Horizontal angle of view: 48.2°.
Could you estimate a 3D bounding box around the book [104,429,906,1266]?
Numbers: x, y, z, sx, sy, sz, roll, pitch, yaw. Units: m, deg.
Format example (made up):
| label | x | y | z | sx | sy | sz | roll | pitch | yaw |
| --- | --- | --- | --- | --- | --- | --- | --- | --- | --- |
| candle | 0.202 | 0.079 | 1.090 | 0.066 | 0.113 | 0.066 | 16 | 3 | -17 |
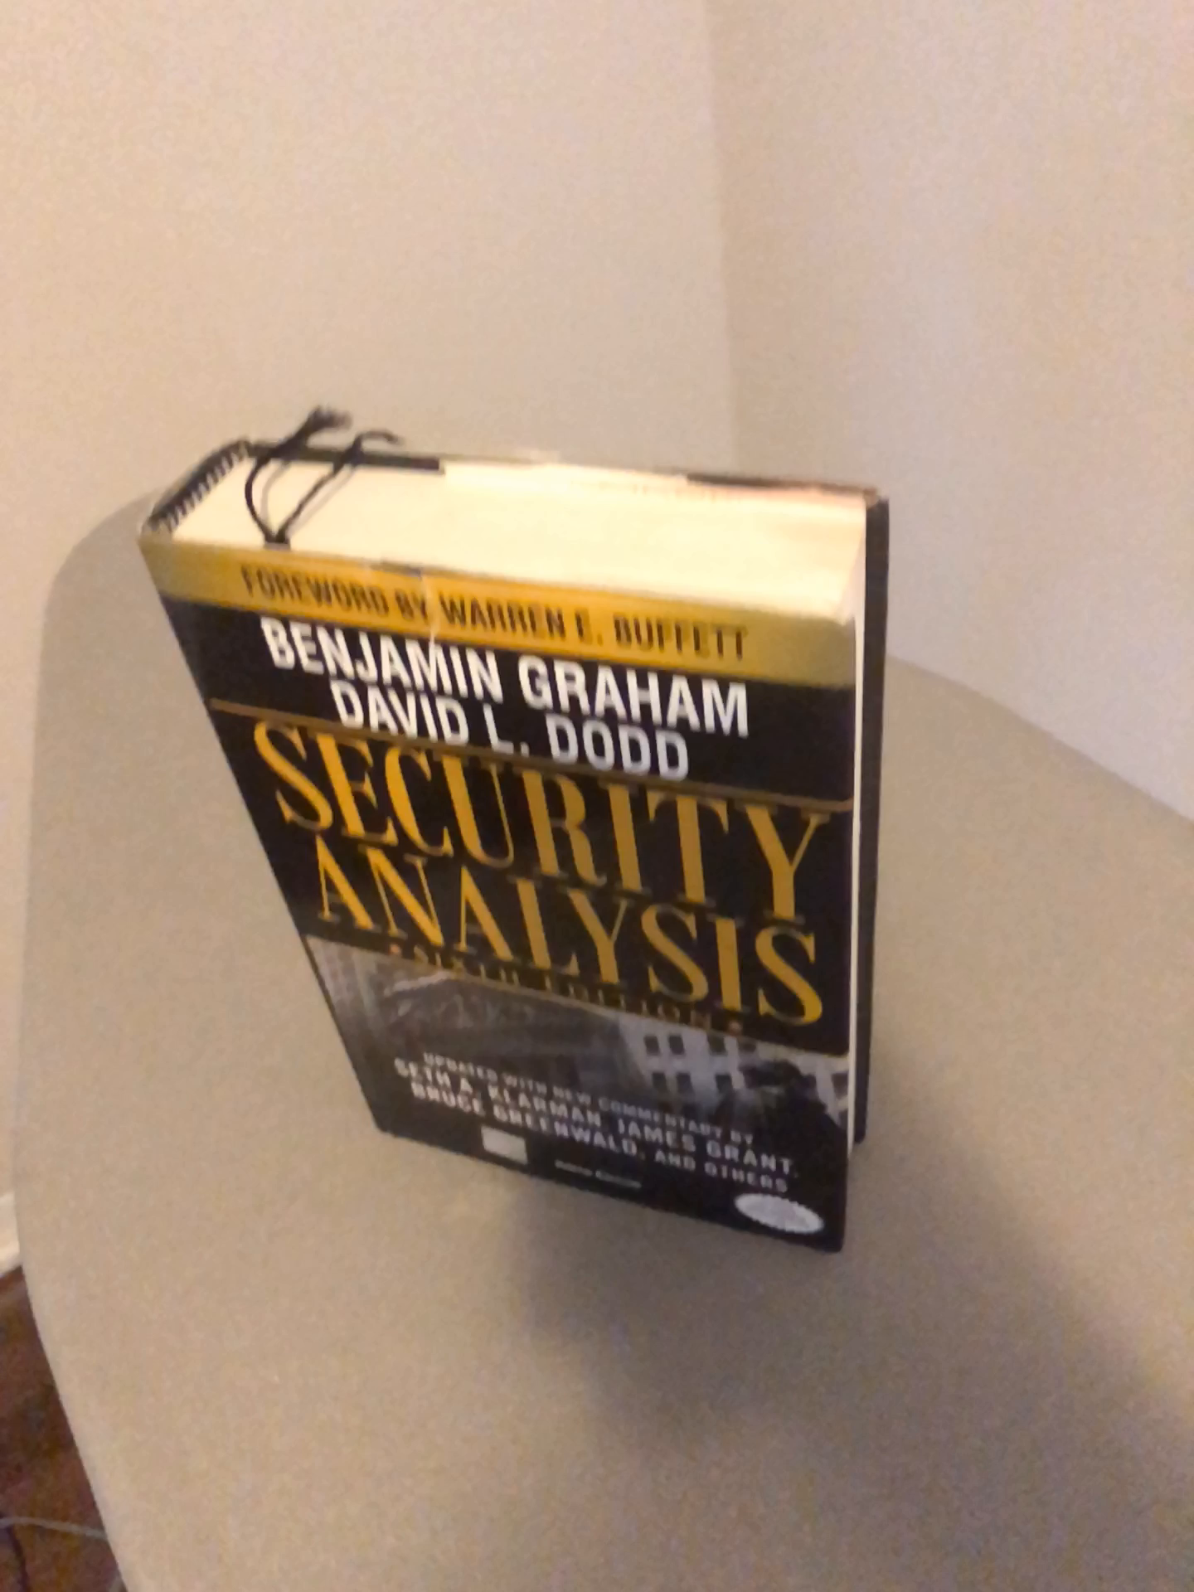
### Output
| label | x | y | z | sx | sy | sz | roll | pitch | yaw |
| --- | --- | --- | --- | --- | --- | --- | --- | --- | --- |
| book | -0.009 | 0.024 | 0.356 | 0.164 | 0.230 | 0.047 | 10 | 46 | 20 |
